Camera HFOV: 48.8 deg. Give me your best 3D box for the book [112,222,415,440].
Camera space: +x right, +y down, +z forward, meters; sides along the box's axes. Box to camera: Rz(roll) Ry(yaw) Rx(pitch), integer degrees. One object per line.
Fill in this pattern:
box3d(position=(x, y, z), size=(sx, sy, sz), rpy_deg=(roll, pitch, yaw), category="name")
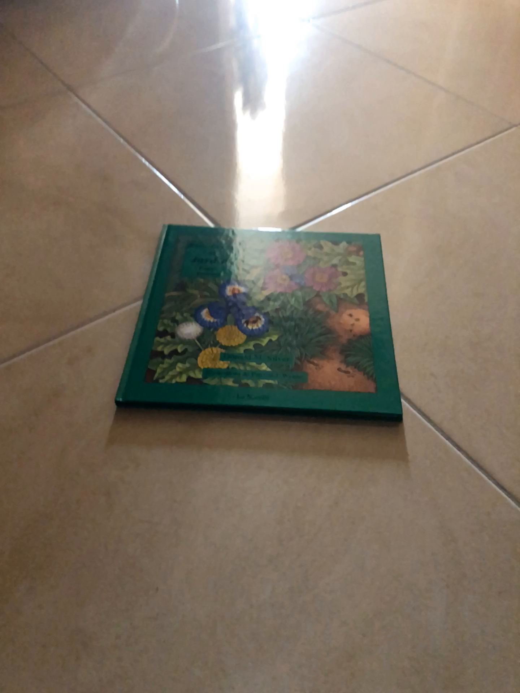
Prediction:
box3d(position=(0.009, -0.029, 0.544), size=(0.240, 0.030, 0.241), rpy_deg=(3, 49, 2), category="book")
